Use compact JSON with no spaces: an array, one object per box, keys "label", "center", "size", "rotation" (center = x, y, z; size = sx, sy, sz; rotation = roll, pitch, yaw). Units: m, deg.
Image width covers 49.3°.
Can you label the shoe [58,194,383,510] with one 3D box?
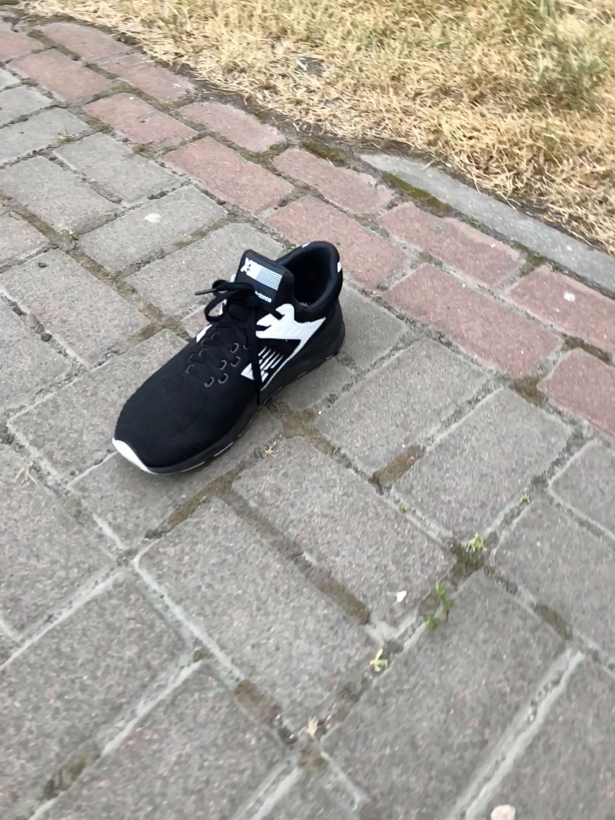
[{"label":"shoe","center":[-0.062,-0.063,0.607],"size":[0.100,0.129,0.281],"rotation":[34,56,23]}]
